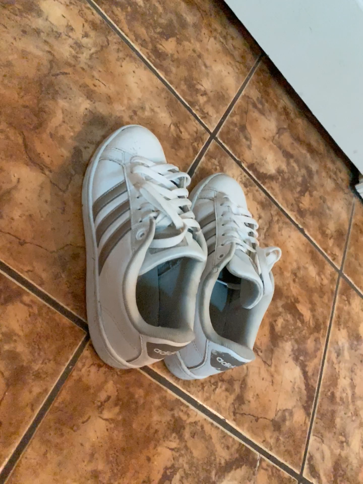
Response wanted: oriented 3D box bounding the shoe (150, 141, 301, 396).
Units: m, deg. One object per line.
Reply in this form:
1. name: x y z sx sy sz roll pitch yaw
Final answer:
1. shoe: 0.060 0.030 0.428 0.102 0.104 0.257 29 56 -28

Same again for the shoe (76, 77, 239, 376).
1. shoe: -0.031 -0.009 0.369 0.102 0.104 0.256 11 65 -36
